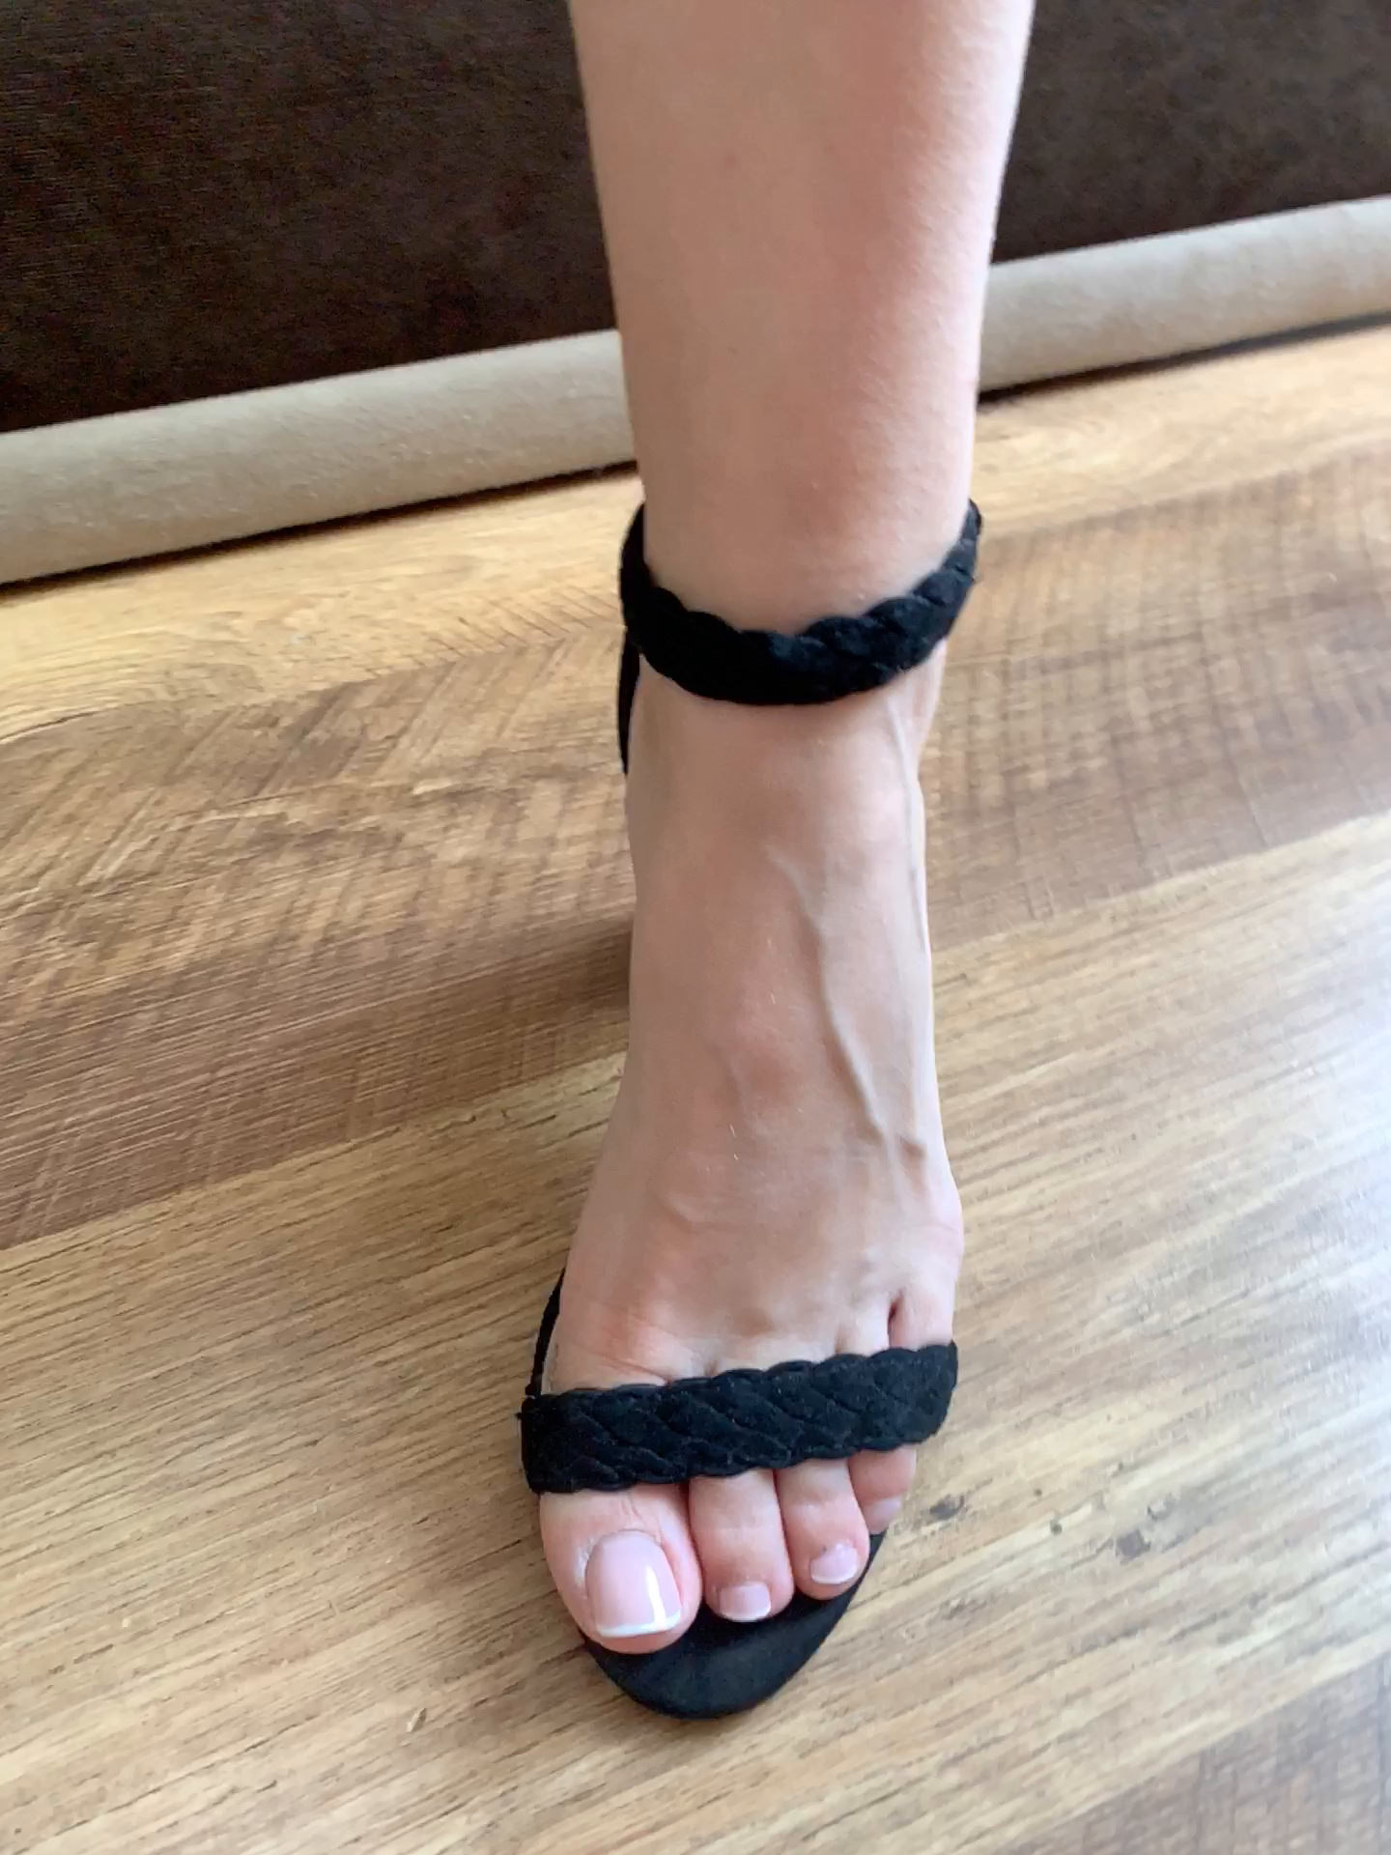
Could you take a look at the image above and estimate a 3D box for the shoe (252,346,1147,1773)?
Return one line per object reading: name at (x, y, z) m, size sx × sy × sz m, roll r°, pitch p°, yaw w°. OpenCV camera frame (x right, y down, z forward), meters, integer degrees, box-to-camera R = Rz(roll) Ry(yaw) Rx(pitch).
shoe at (0.006, 0.009, 0.279) m, size 0.090 × 0.149 × 0.231 m, roll 2°, pitch 44°, yaw 2°
